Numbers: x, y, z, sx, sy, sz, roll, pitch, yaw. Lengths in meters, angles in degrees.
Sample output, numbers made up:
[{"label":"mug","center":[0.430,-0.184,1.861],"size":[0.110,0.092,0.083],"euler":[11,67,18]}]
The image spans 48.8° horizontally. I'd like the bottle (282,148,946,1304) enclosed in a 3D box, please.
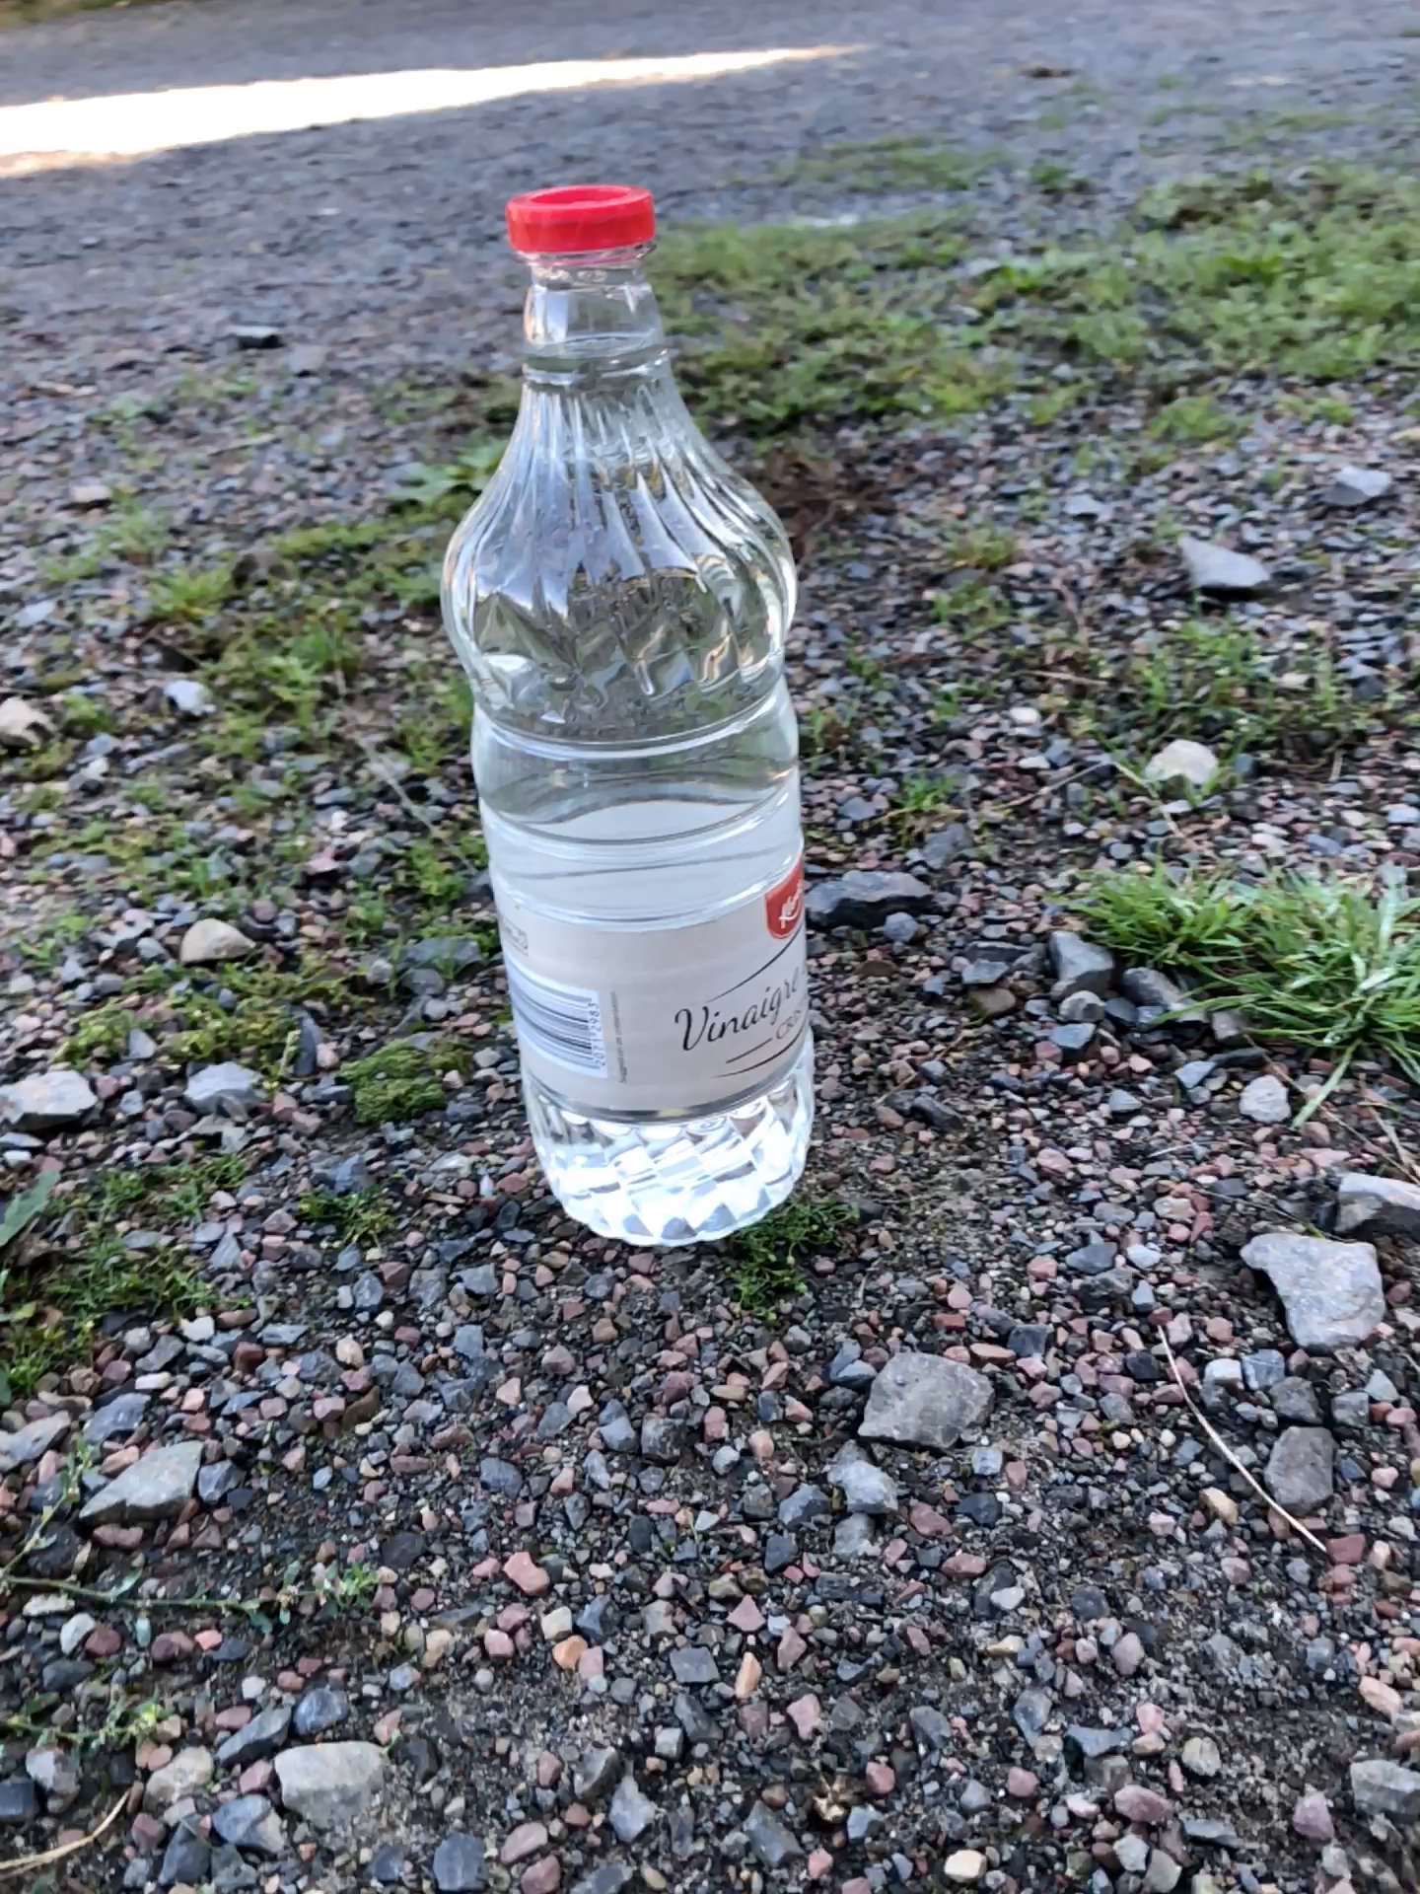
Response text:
[{"label":"bottle","center":[-0.008,-0.051,0.385],"size":[0.100,0.249,0.101],"euler":[-3,31,2]}]
